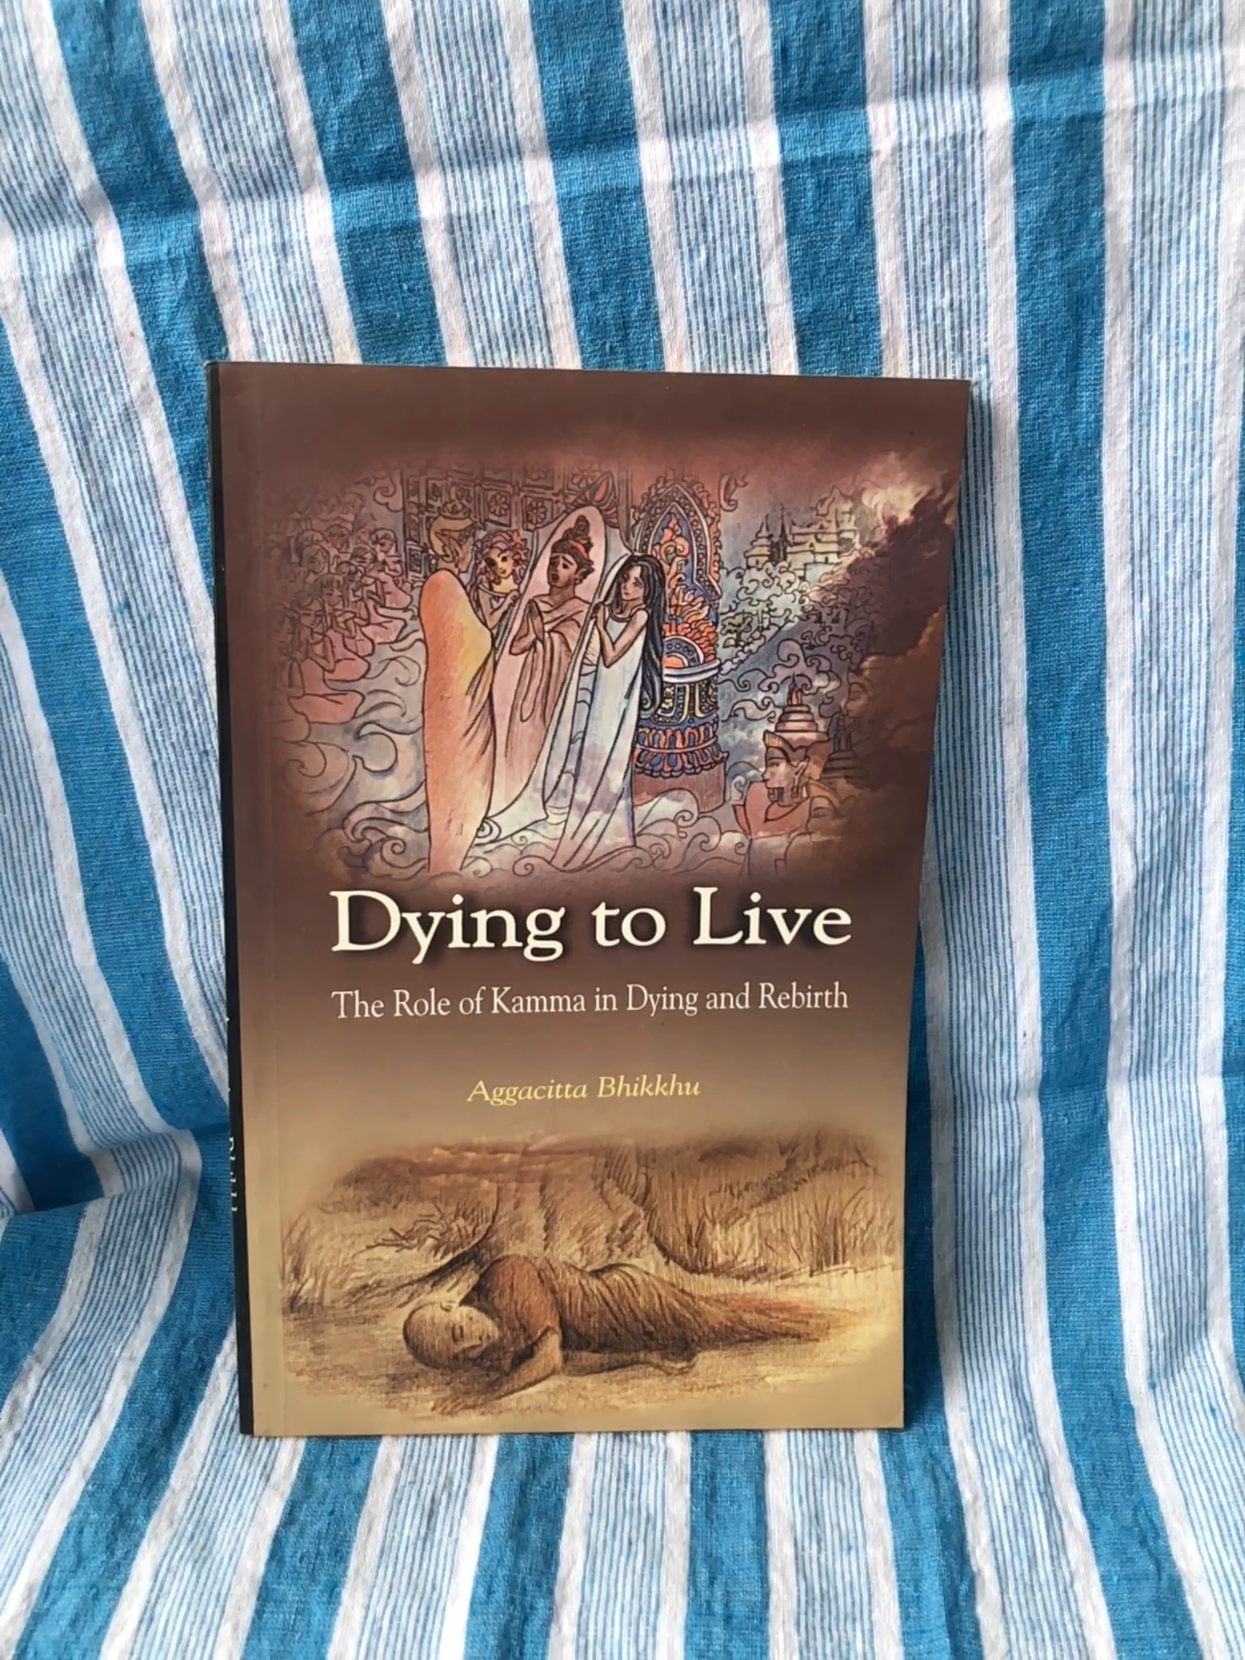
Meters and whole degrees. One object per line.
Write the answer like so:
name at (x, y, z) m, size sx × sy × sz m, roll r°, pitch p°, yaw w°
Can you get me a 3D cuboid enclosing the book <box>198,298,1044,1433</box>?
book at (-0.002, 0.013, 0.271) m, size 0.150 × 0.210 × 0.020 m, roll 2°, pitch 6°, yaw -6°
